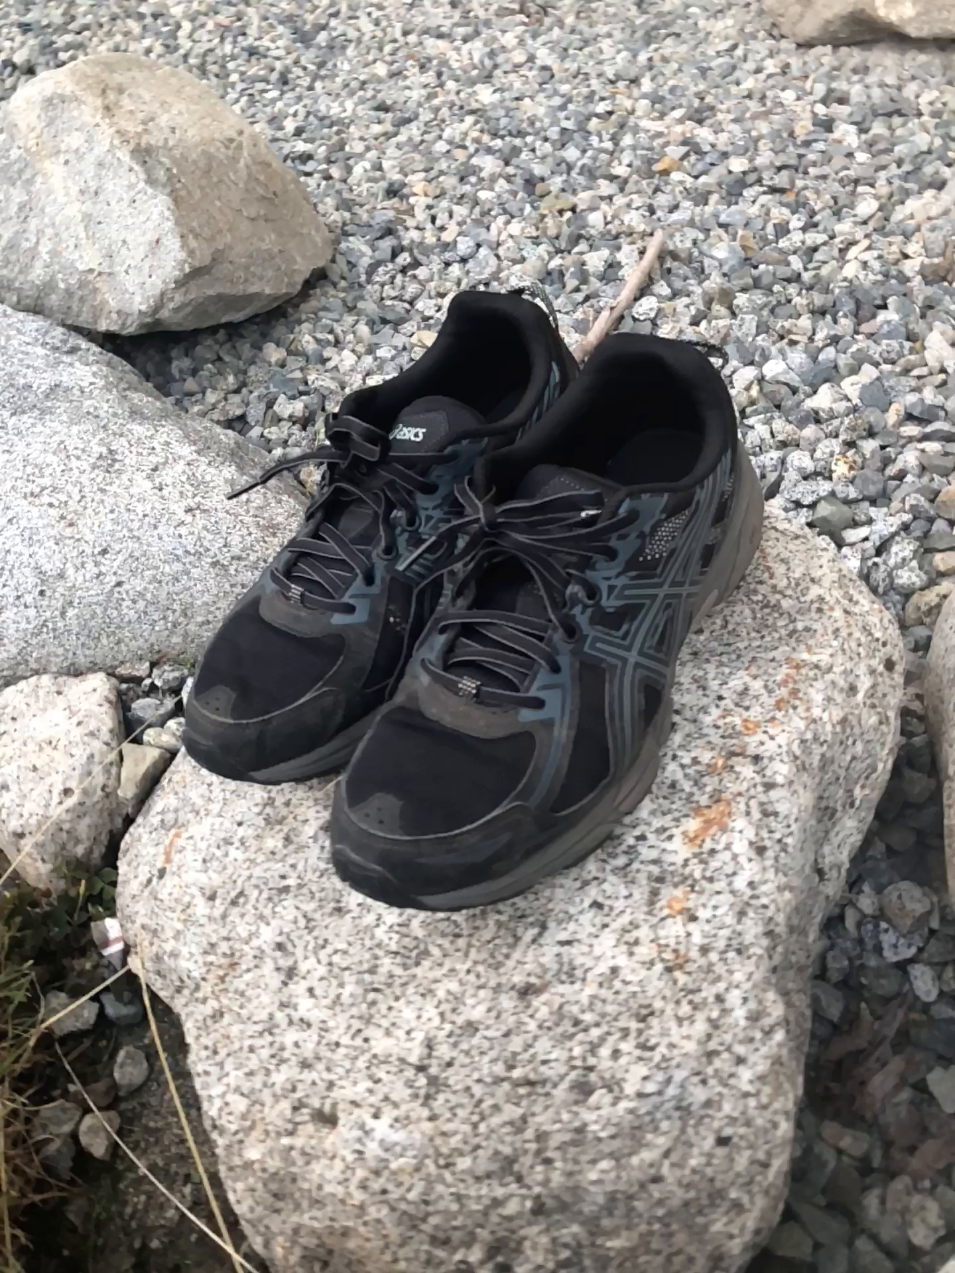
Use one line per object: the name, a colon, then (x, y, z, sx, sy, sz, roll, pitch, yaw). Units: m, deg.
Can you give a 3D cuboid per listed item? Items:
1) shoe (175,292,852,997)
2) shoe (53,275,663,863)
shoe: (0.035, -0.021, 0.436, 0.120, 0.099, 0.291, 23, 53, 28)
shoe: (-0.033, -0.051, 0.494, 0.120, 0.099, 0.281, 23, 53, 28)
